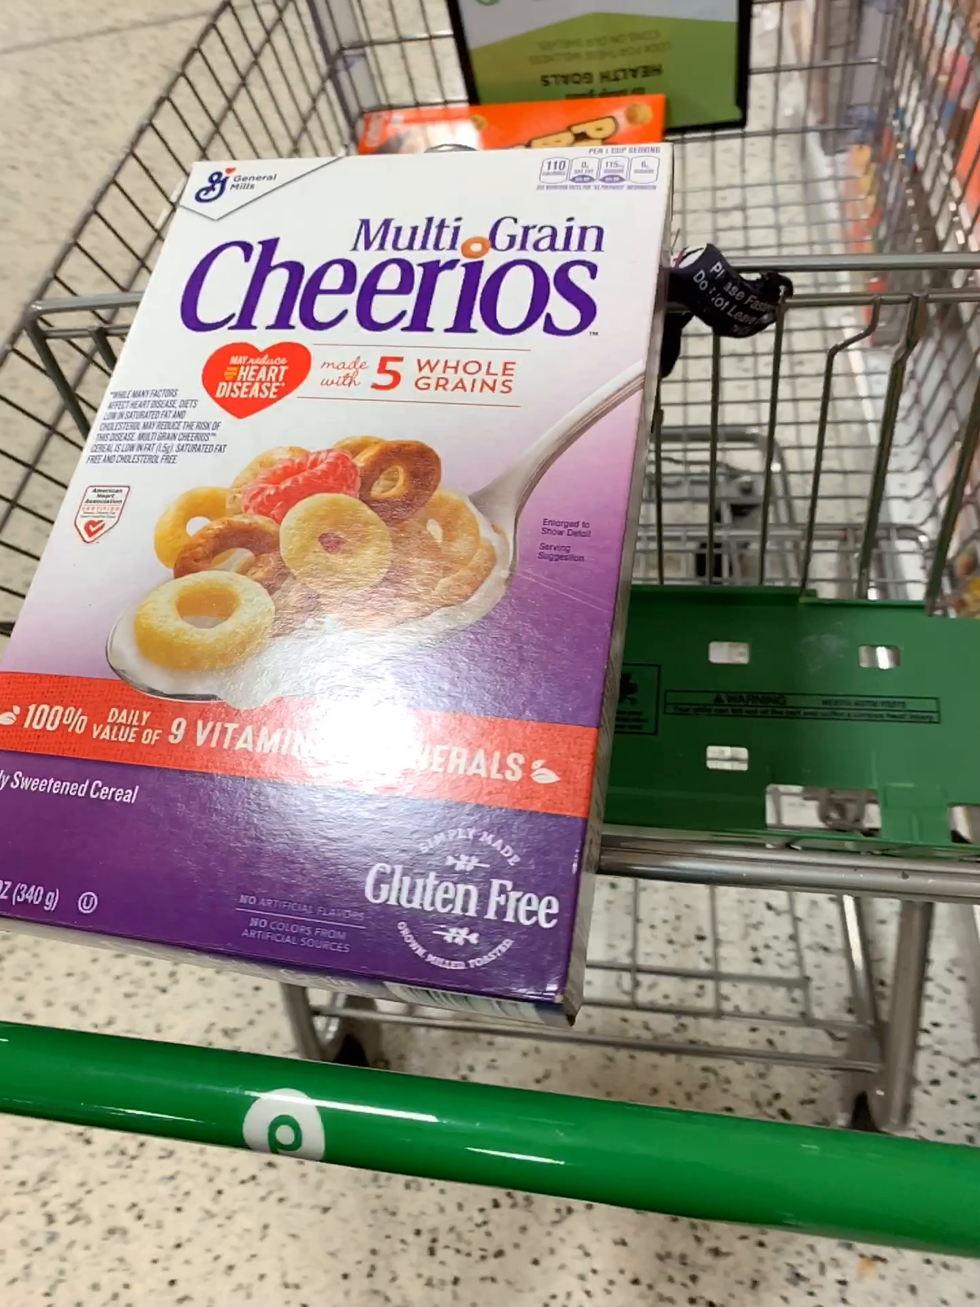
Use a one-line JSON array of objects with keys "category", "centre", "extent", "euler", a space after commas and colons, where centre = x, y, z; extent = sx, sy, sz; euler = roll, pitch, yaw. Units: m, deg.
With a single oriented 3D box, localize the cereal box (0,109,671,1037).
[{"category": "cereal box", "centre": [-0.050, -0.050, 0.365], "extent": [0.200, 0.070, 0.322], "euler": [4, 66, 13]}]
